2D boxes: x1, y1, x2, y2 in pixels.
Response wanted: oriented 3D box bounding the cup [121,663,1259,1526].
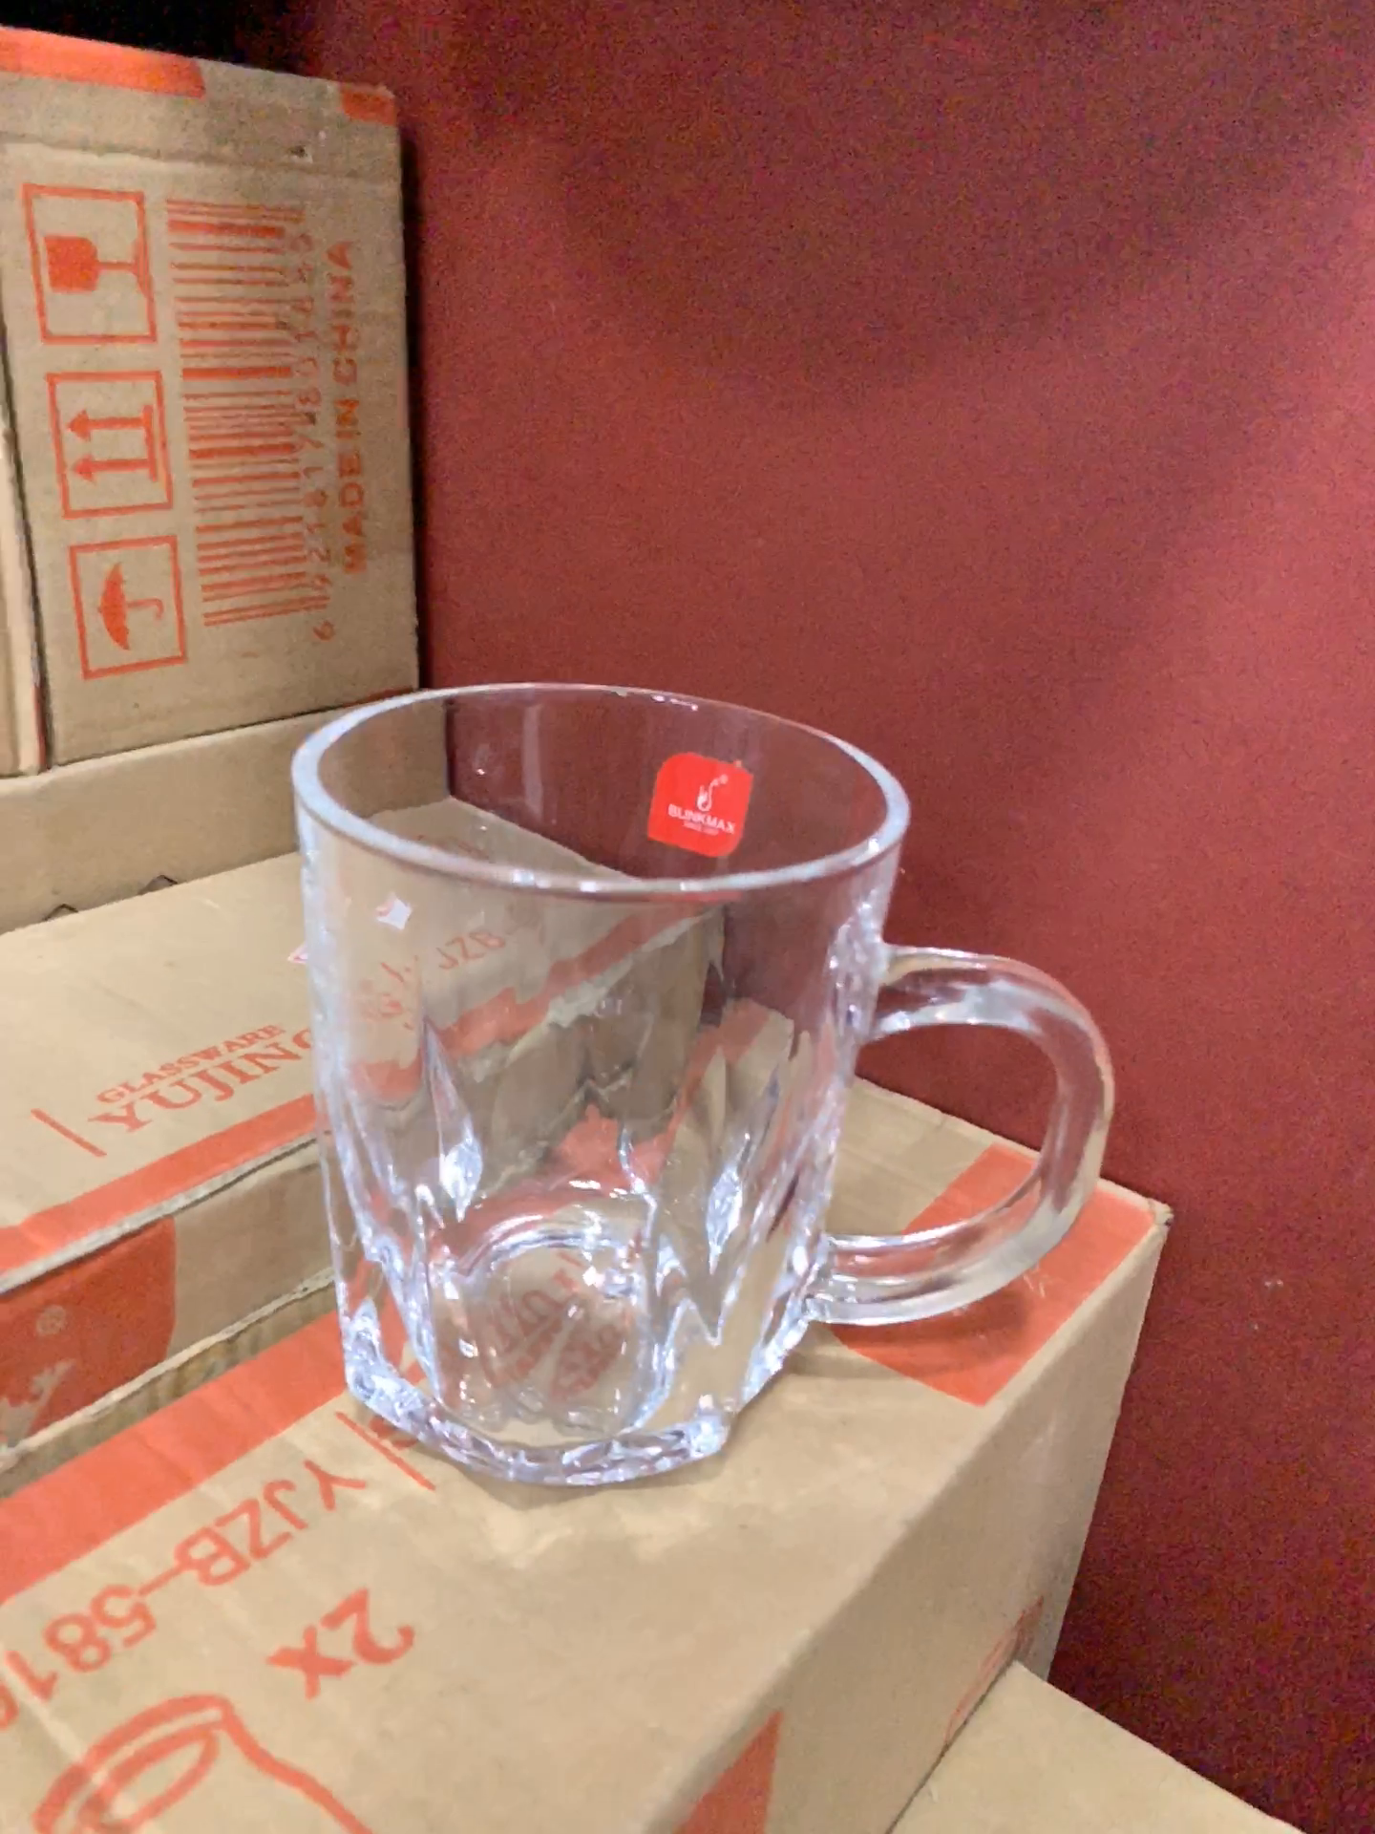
[{"bbox_3d":[-0.001,0.016,0.170,0.100,0.072,0.069,3,22,0],"label":"cup"}]
